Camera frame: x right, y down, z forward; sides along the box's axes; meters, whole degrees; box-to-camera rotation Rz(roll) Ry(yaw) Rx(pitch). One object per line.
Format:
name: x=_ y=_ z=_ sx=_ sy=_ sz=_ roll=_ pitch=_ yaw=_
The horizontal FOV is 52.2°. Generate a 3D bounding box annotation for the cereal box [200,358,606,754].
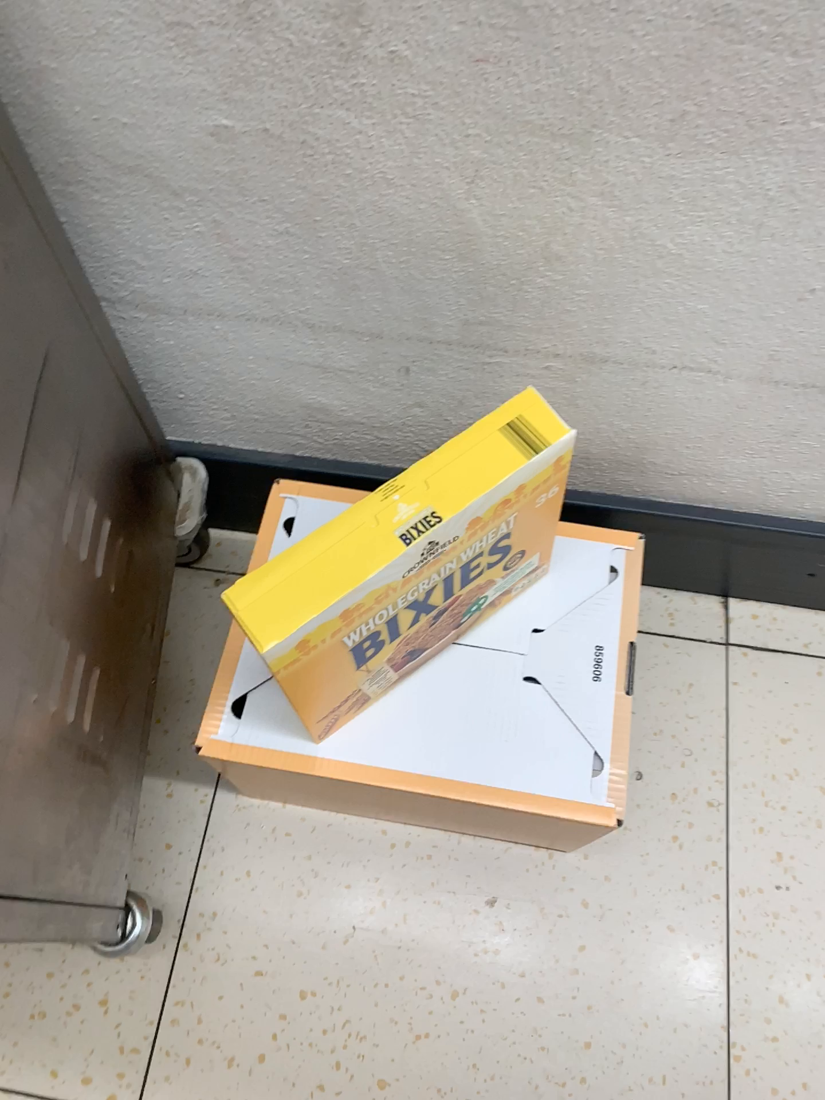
cereal box: x=0.000 y=0.023 z=0.693 sx=0.291 sy=0.279 sz=0.070 roll=-35 pitch=70 yaw=-15
